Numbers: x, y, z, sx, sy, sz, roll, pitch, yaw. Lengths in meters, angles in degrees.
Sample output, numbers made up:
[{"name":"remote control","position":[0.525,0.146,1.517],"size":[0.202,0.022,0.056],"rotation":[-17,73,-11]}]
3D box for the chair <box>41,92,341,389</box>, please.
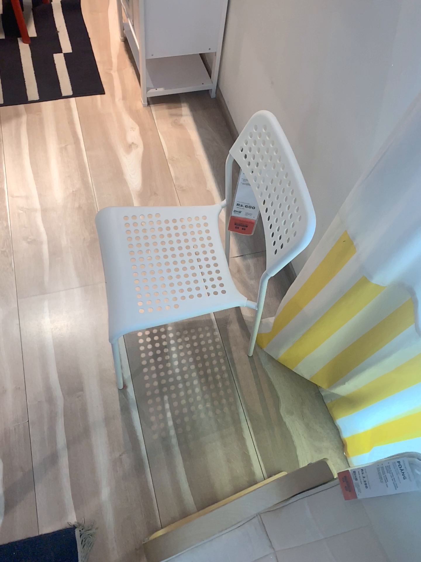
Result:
[{"name":"chair","position":[-0.087,-0.062,1.165],"size":[0.530,0.659,0.441],"rotation":[-10,63,-11]}]
